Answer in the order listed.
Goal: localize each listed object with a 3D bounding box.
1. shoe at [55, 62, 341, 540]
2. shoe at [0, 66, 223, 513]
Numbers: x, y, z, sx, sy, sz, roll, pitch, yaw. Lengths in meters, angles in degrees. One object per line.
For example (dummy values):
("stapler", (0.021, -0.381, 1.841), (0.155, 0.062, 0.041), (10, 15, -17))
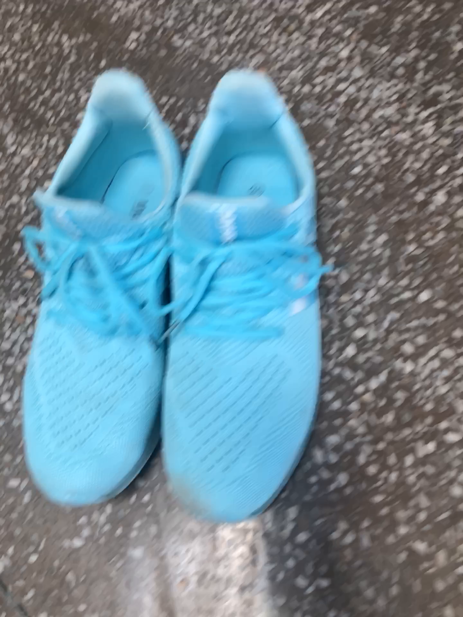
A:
("shoe", (0.000, -0.007, 0.339), (0.120, 0.125, 0.271), (4, 70, 10))
("shoe", (-0.095, -0.013, 0.357), (0.120, 0.125, 0.271), (6, 71, 10))
